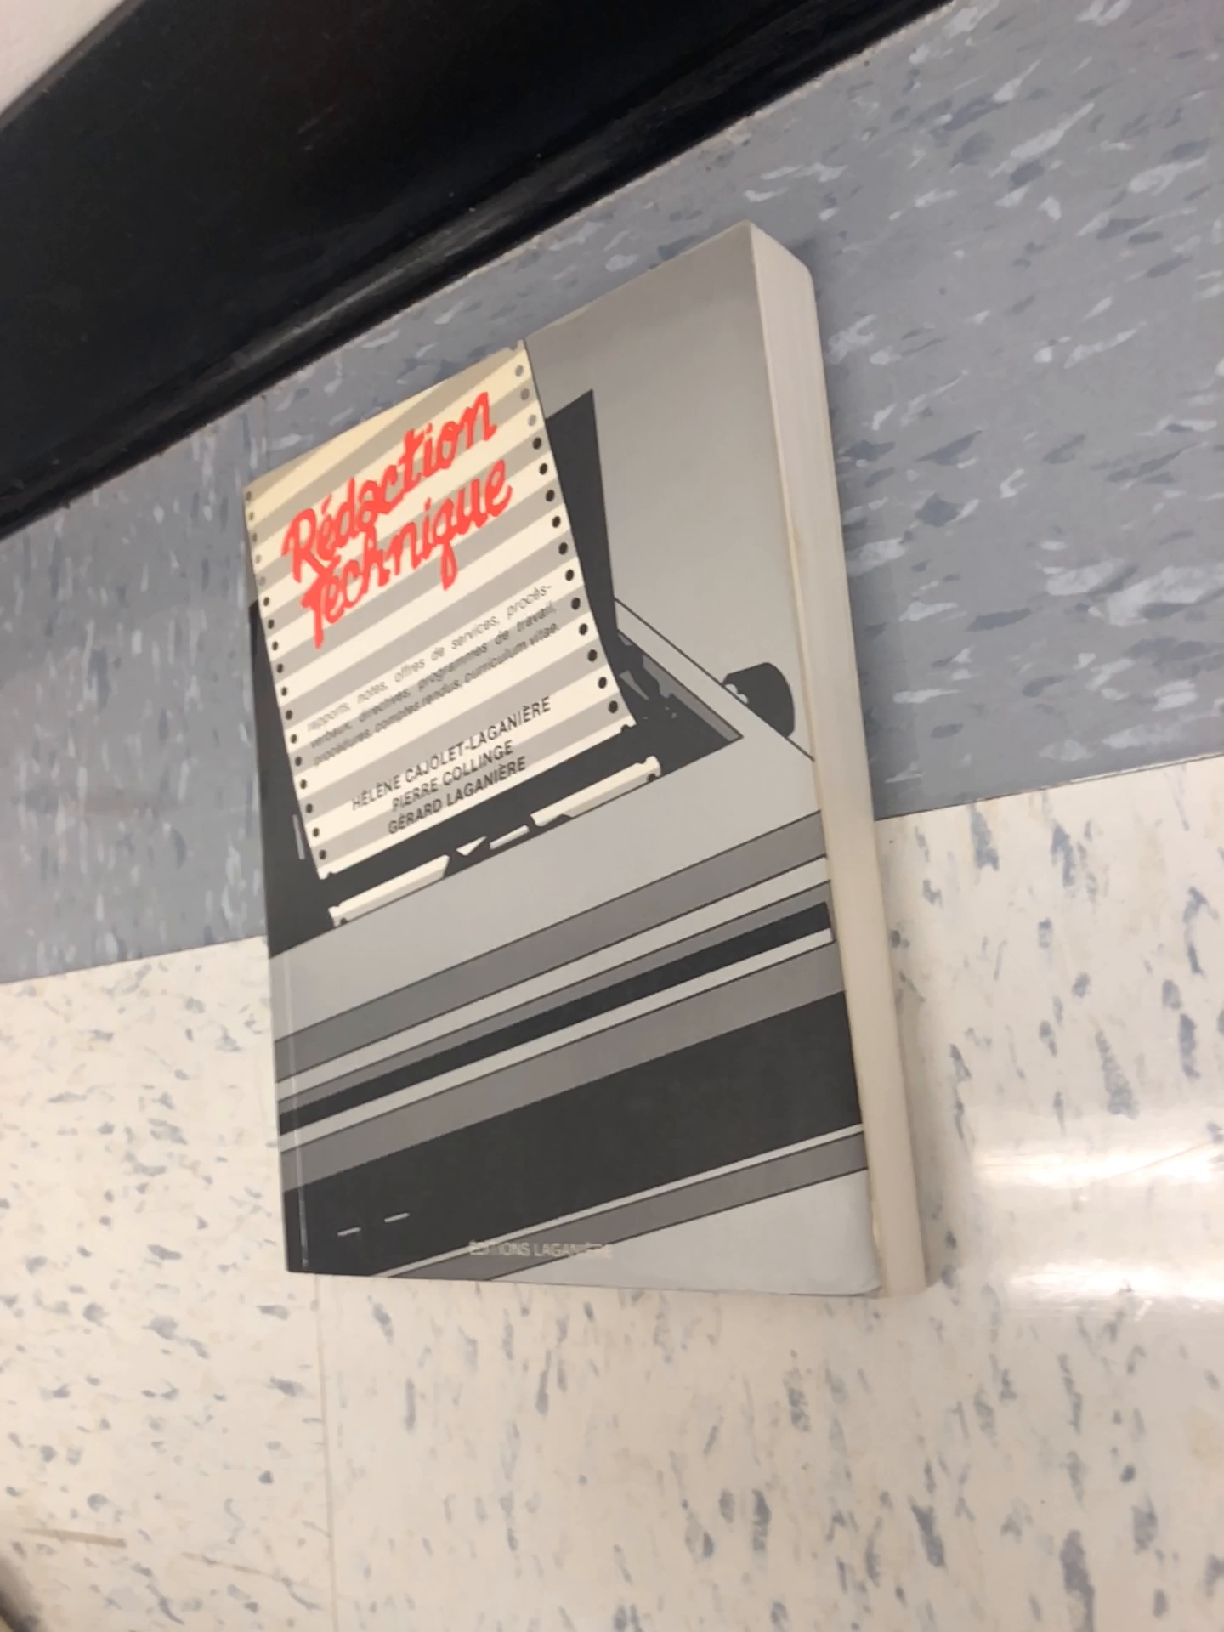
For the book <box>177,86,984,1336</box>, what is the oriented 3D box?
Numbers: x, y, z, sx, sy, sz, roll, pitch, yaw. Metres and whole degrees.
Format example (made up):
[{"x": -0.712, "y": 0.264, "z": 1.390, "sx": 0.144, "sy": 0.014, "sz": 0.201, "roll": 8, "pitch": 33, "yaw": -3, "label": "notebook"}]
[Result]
[{"x": -0.023, "y": -0.010, "z": 0.298, "sx": 0.171, "sy": 0.040, "sz": 0.220, "roll": -13, "pitch": 78, "yaw": 37, "label": "book"}]
